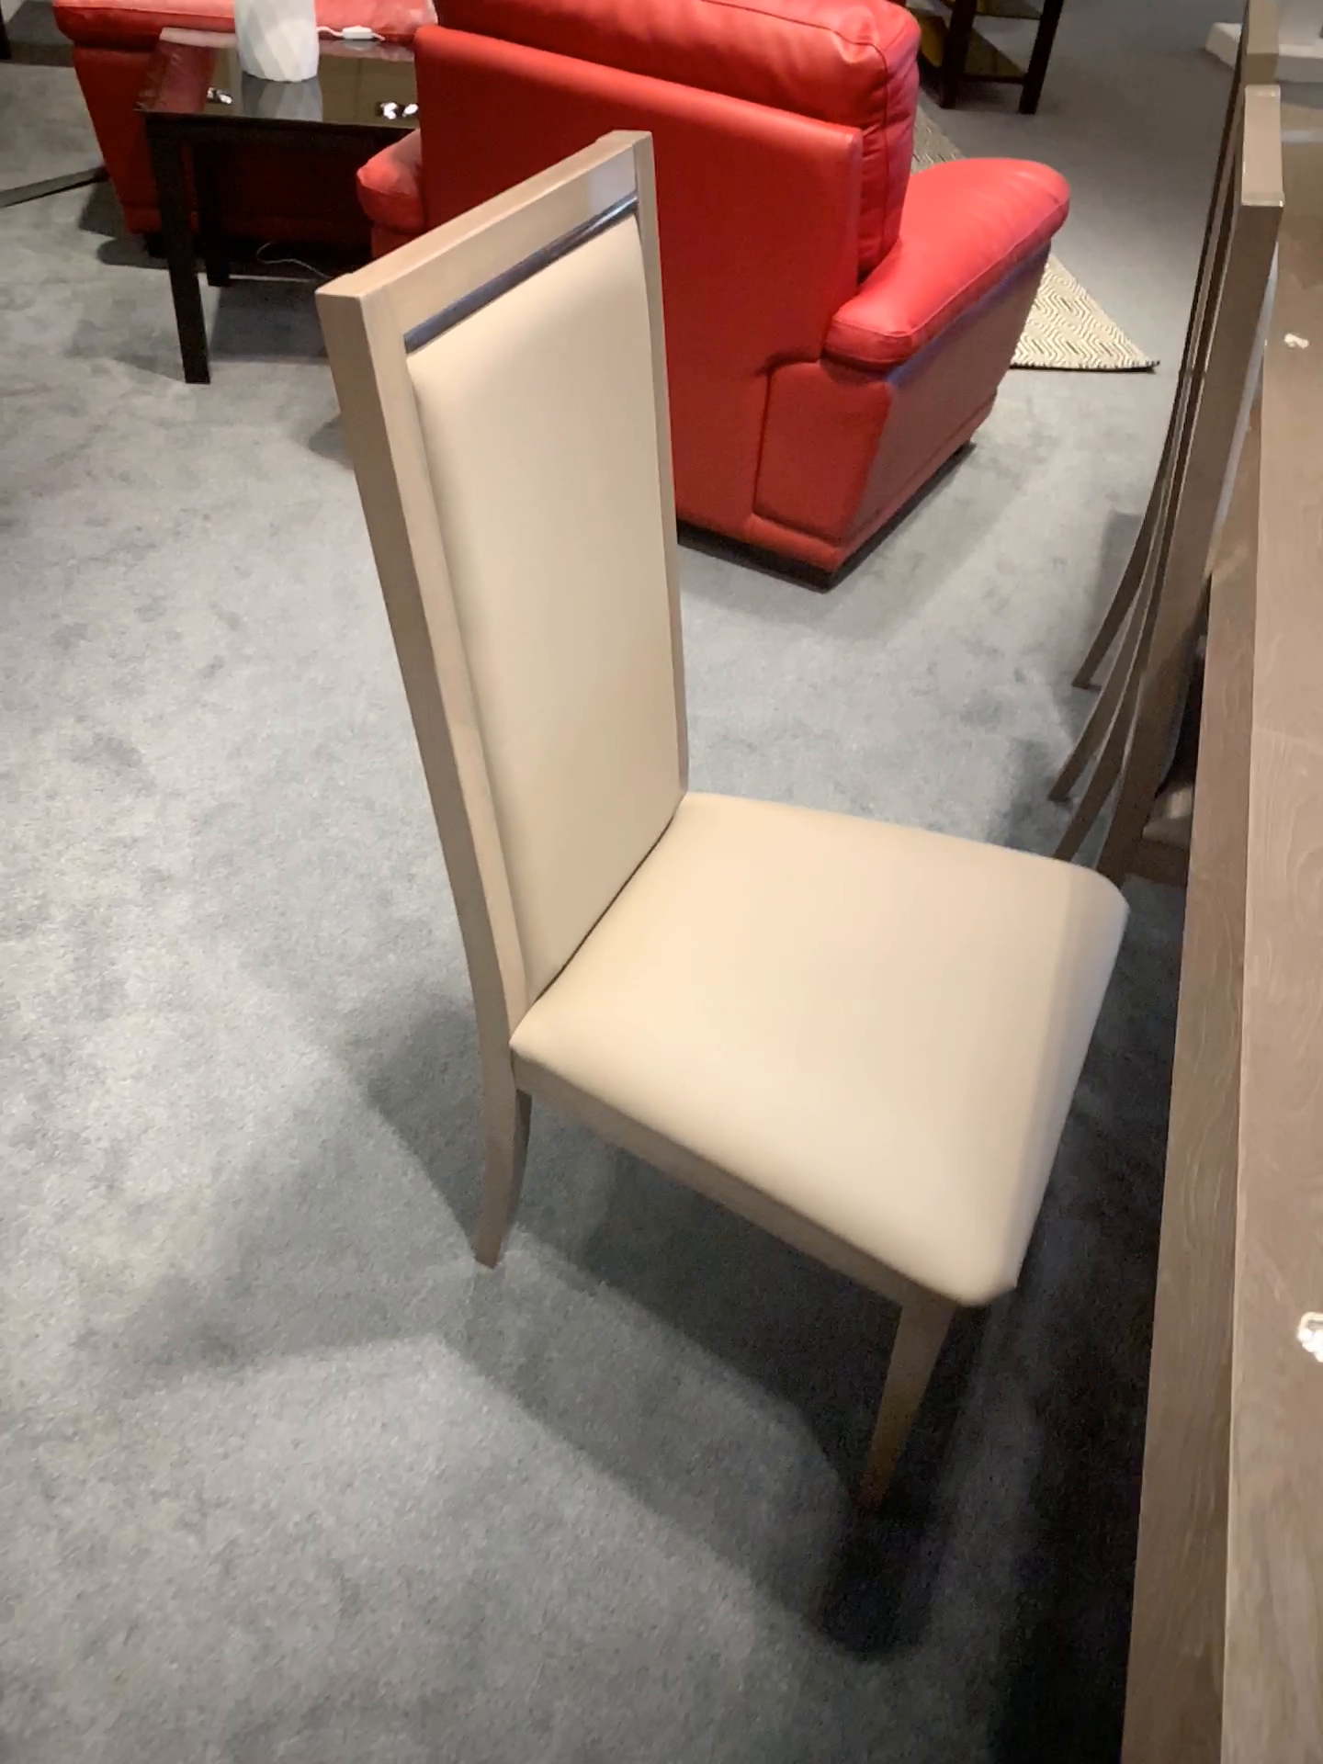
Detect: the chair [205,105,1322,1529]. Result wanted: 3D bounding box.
[{"bbox_3d":[0.095,-0.017,1.145,0.586,0.946,0.543,19,45,13],"label":"chair"}]
